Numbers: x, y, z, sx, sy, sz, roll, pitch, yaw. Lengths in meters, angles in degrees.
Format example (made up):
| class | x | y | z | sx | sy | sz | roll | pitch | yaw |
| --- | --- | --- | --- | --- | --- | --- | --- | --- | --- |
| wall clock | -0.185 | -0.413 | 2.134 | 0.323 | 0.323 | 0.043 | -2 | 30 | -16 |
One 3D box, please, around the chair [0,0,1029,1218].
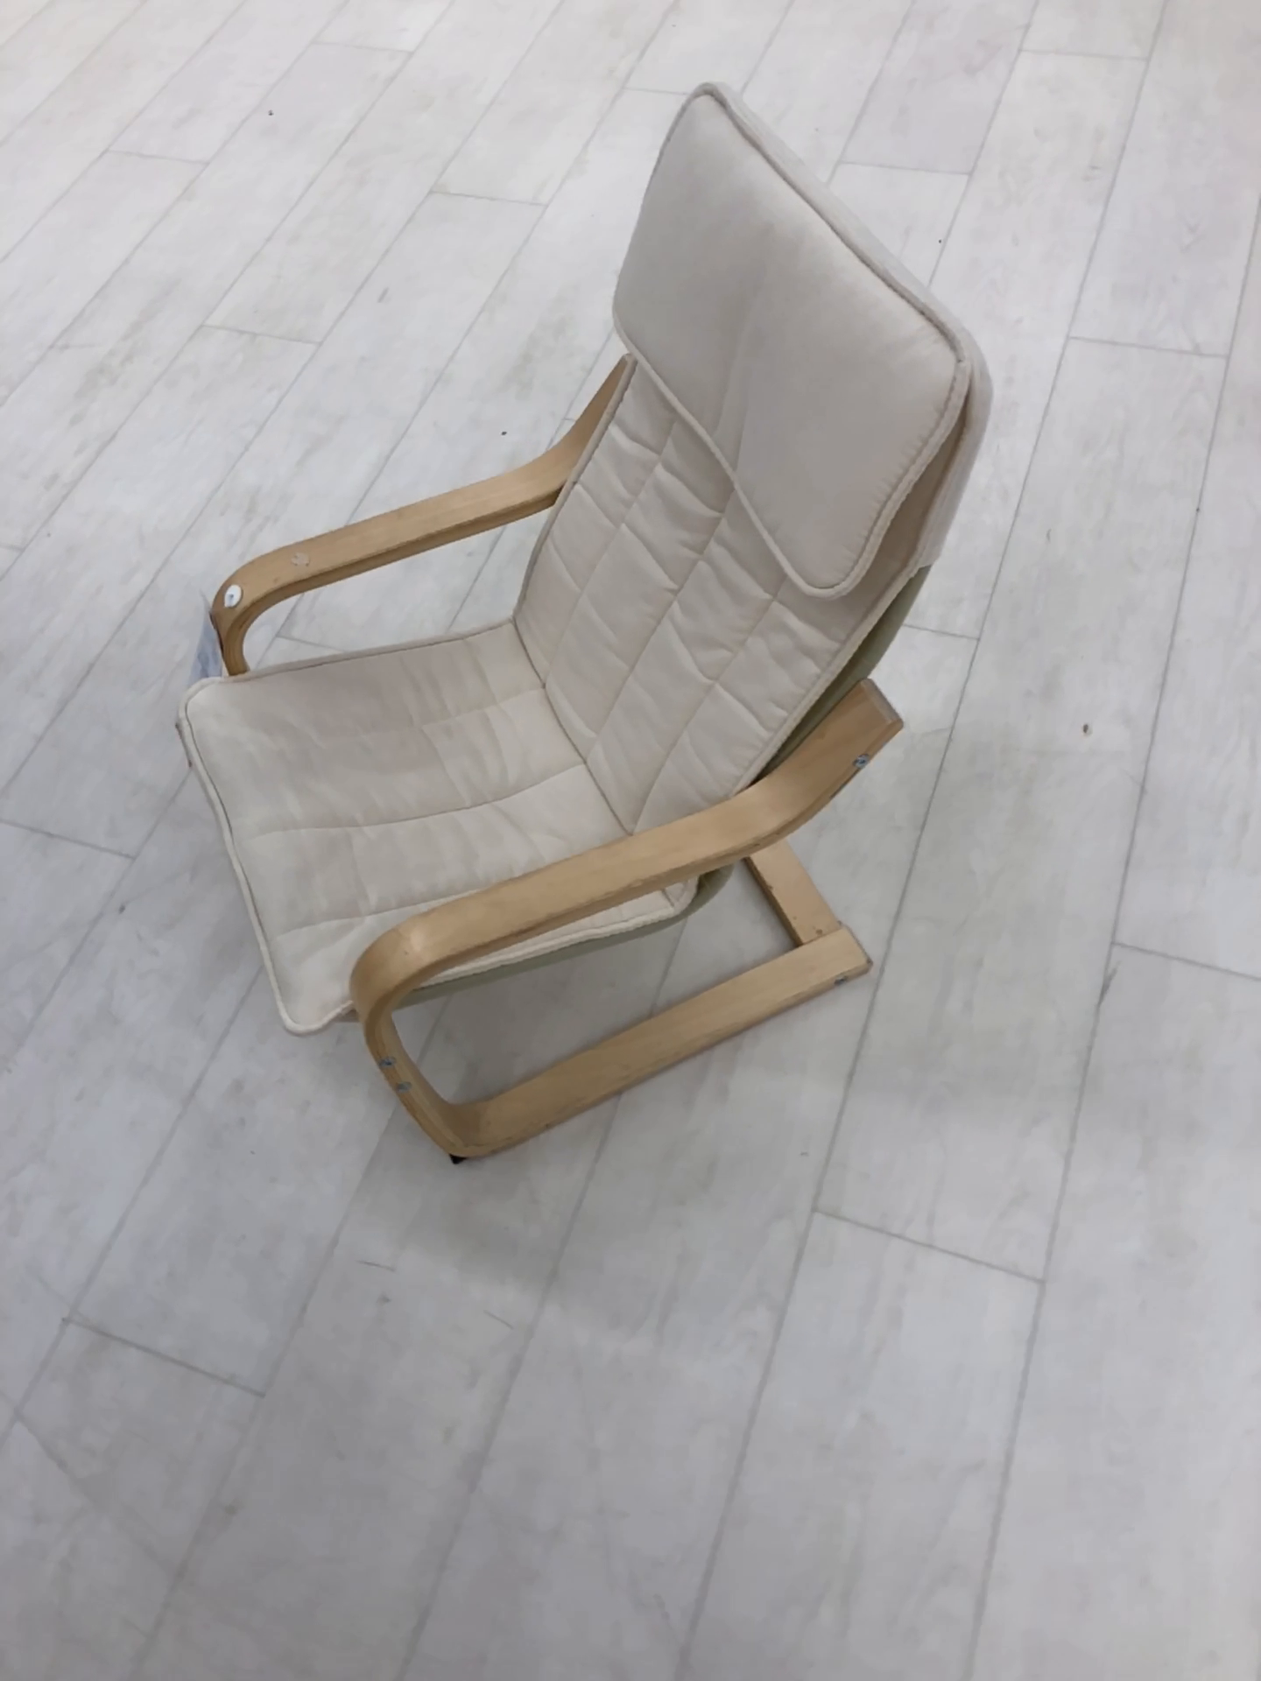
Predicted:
| class | x | y | z | sx | sy | sz | roll | pitch | yaw |
| --- | --- | --- | --- | --- | --- | --- | --- | --- | --- |
| chair | -0.111 | -0.154 | 1.152 | 0.560 | 0.688 | 0.531 | -23 | 57 | -9 |
